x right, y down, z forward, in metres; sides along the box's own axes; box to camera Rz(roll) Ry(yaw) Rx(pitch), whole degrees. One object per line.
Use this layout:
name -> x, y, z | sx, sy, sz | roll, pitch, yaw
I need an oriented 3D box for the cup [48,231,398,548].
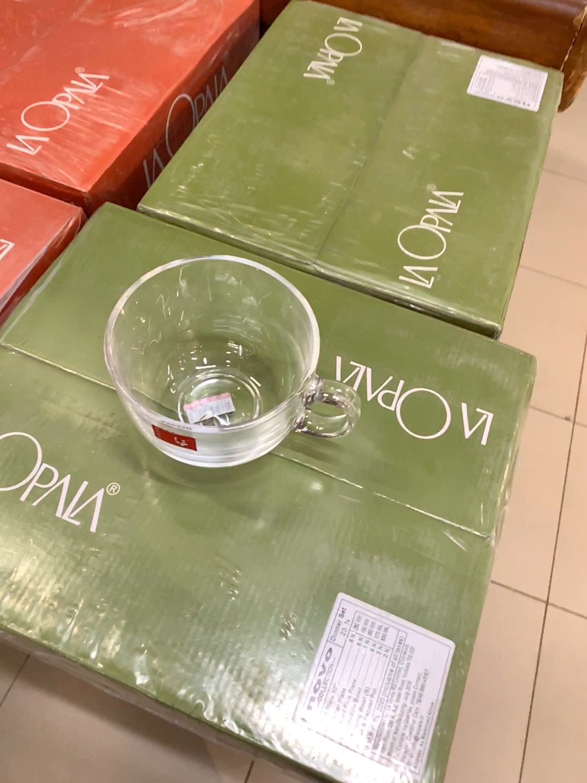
cup -> -0.031, 0.000, 0.333 | 0.140, 0.090, 0.110 | 17, 59, 6
